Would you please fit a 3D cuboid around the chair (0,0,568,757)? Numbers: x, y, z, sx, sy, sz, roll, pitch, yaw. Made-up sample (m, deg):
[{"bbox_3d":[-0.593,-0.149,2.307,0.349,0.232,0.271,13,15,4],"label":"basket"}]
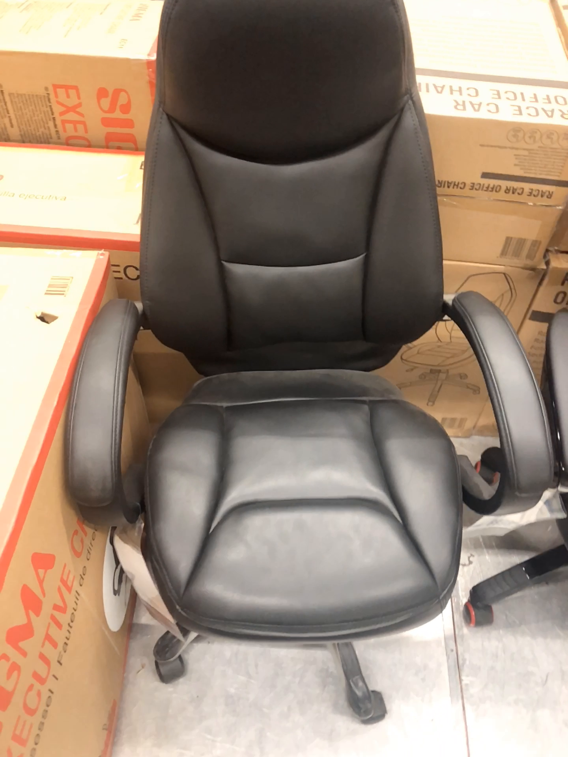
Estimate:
[{"bbox_3d":[0.043,0.049,1.007,0.720,1.064,0.744,-3,50,-5],"label":"chair"}]
